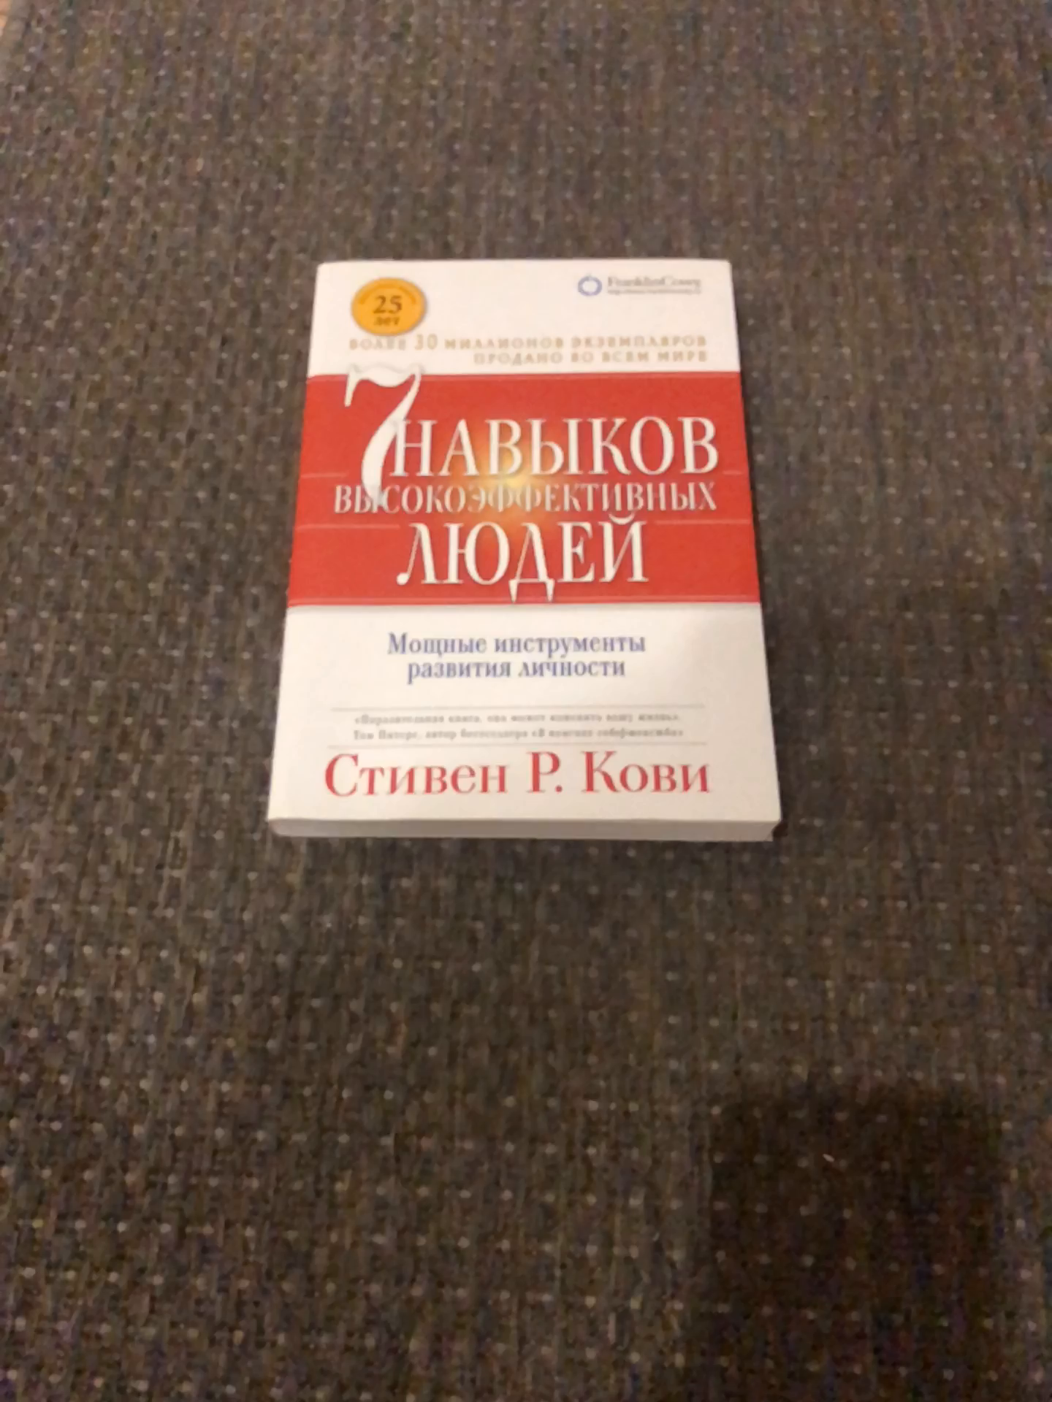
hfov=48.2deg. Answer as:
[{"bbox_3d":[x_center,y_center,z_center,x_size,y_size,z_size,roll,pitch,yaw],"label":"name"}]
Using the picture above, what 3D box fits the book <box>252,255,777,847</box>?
[{"bbox_3d":[-0.002,-0.064,0.428,0.166,0.020,0.236,0,66,2],"label":"book"}]
